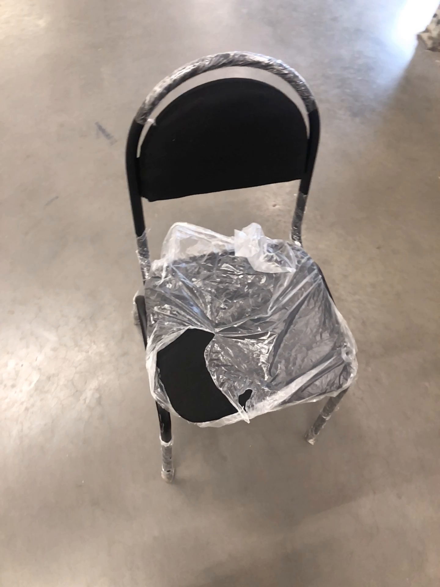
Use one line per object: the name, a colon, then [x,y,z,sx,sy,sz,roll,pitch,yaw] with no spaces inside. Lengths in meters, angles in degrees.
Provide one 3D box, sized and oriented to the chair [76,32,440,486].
chair: [0.033,0.038,1.044,0.450,0.877,0.552,-11,66,-10]
